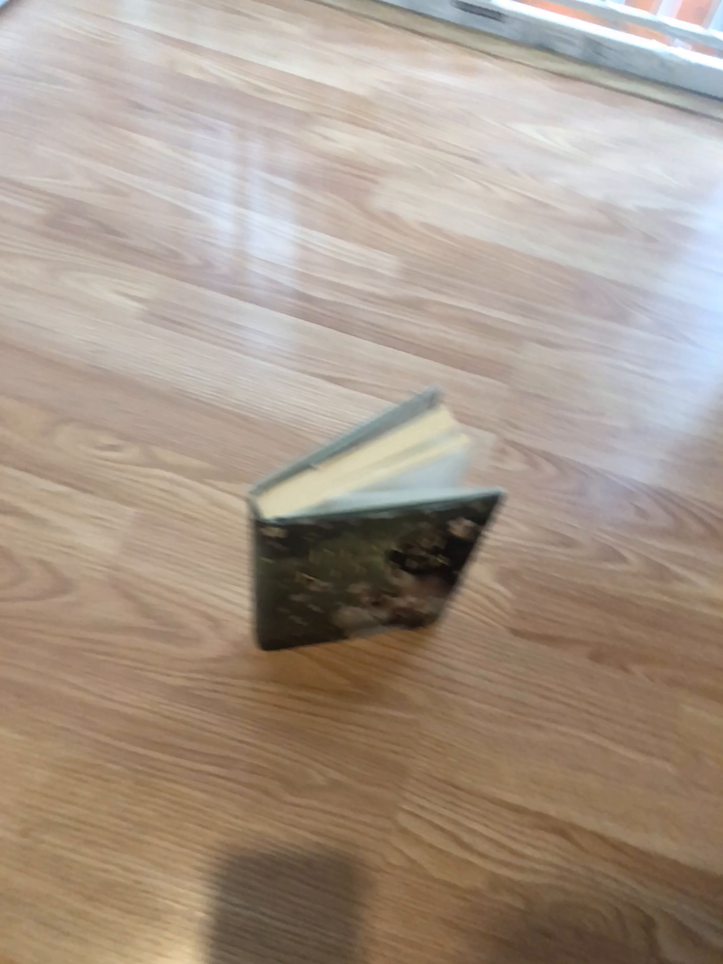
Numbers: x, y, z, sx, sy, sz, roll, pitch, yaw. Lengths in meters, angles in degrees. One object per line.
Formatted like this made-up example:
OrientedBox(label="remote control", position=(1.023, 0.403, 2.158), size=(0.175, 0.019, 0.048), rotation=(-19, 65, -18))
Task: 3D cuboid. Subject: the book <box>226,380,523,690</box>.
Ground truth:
OrientedBox(label="book", position=(-0.005, 0.047, 0.540), size=(0.150, 0.220, 0.080), rotation=(-18, 64, -18))
